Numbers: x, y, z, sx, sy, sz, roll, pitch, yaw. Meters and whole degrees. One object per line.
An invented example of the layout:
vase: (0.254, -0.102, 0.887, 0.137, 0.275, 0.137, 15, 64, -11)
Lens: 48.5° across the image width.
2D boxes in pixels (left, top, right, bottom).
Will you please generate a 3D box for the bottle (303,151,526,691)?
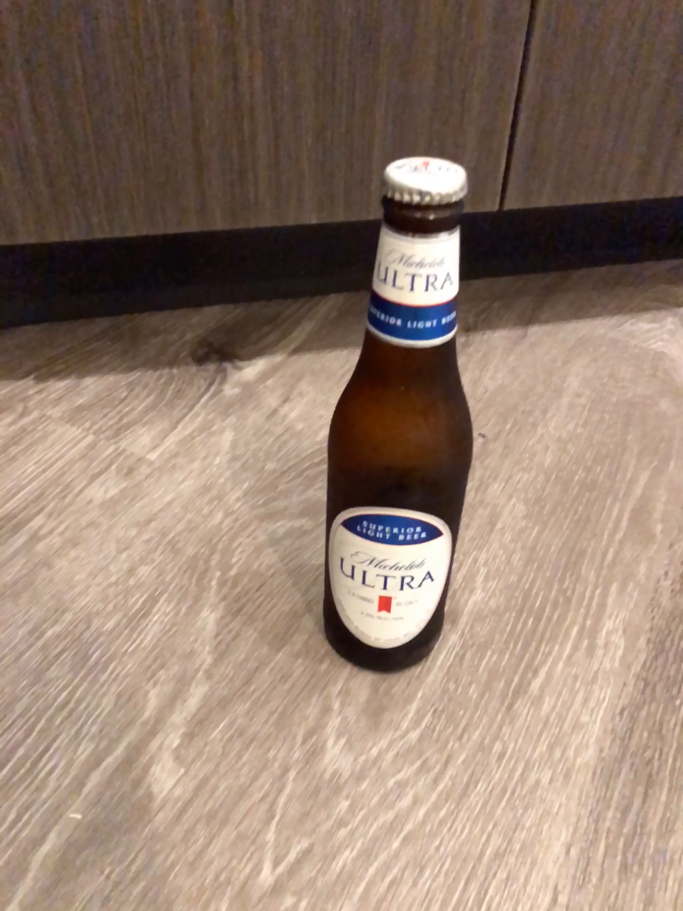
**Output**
bottle: (0.022, -0.001, 0.301, 0.060, 0.209, 0.060, 1, 38, -1)
